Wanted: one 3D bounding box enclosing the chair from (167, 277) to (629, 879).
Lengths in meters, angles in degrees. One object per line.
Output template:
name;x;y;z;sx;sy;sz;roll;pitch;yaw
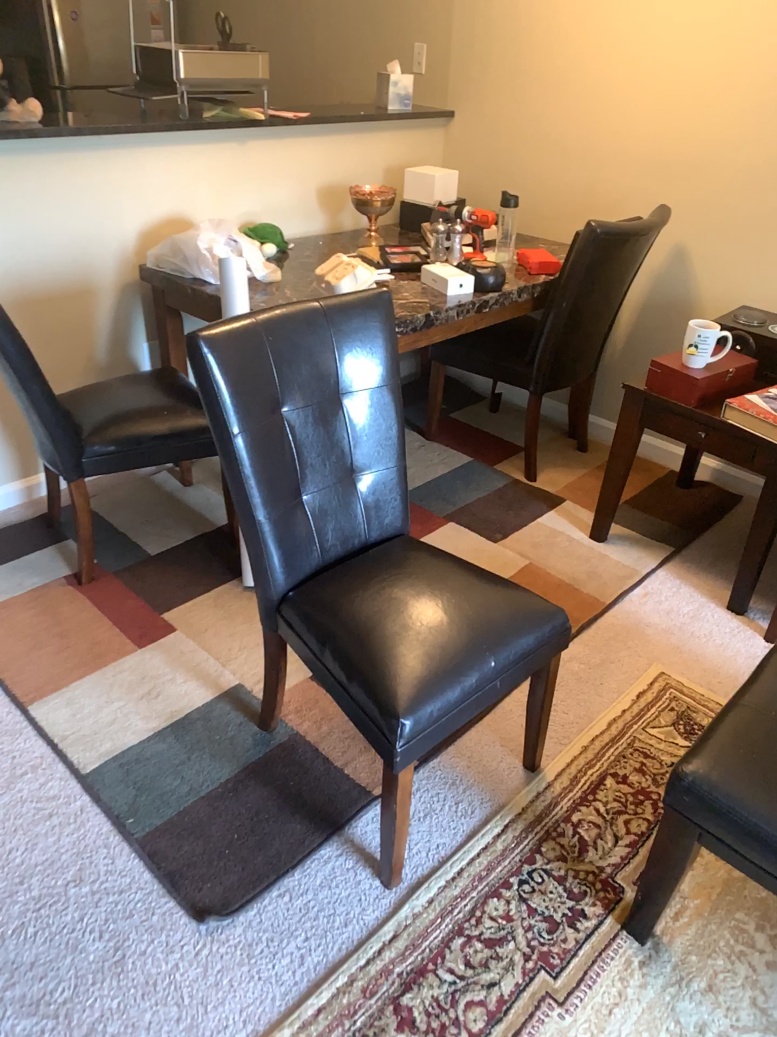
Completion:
chair;-0.018;0.080;1.613;0.491;0.914;0.652;-25;41;-38
